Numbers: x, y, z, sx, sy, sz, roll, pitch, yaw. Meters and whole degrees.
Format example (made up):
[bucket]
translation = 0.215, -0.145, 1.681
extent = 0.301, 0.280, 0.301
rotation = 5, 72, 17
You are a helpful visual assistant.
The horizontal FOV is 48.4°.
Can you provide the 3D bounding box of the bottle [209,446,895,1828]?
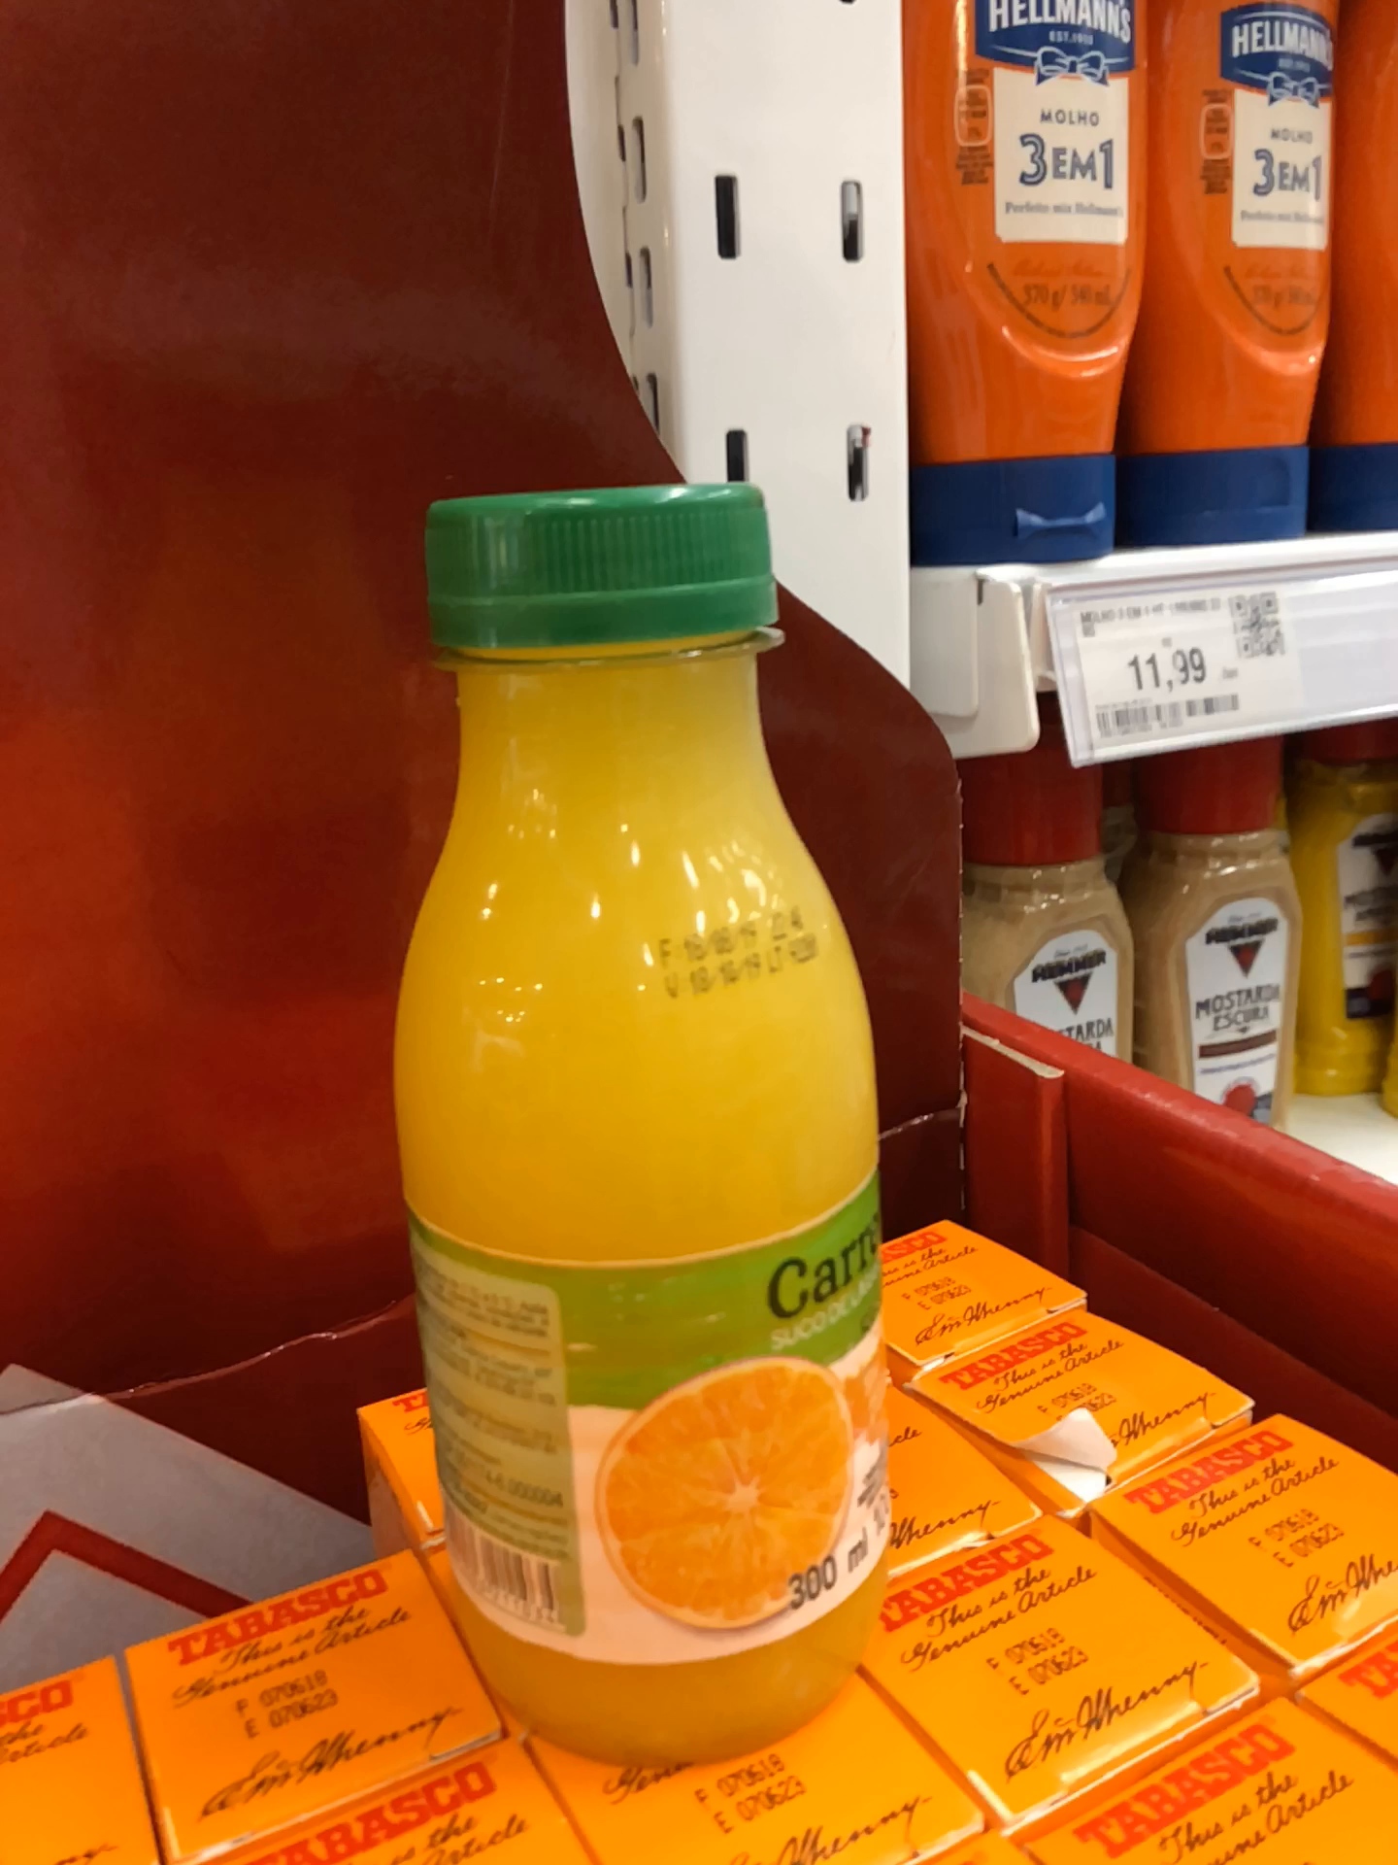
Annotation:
[bottle]
translation = -0.011, 0.020, 0.193
extent = 0.050, 0.149, 0.060
rotation = 3, 16, 23
